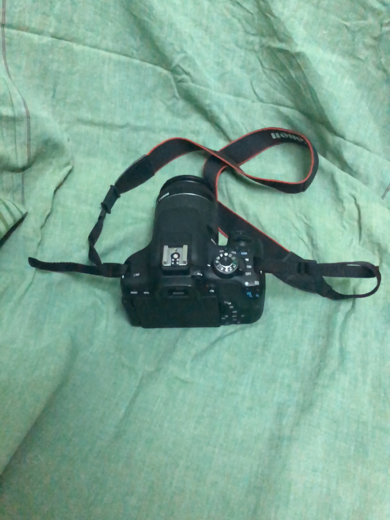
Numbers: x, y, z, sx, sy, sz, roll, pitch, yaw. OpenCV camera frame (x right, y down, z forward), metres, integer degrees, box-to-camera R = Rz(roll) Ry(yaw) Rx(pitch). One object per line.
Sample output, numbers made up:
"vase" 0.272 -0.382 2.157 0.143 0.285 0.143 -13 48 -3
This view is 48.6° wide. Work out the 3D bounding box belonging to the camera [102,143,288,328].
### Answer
"camera" 0.000 -0.023 0.410 0.142 0.099 0.145 0 57 0
